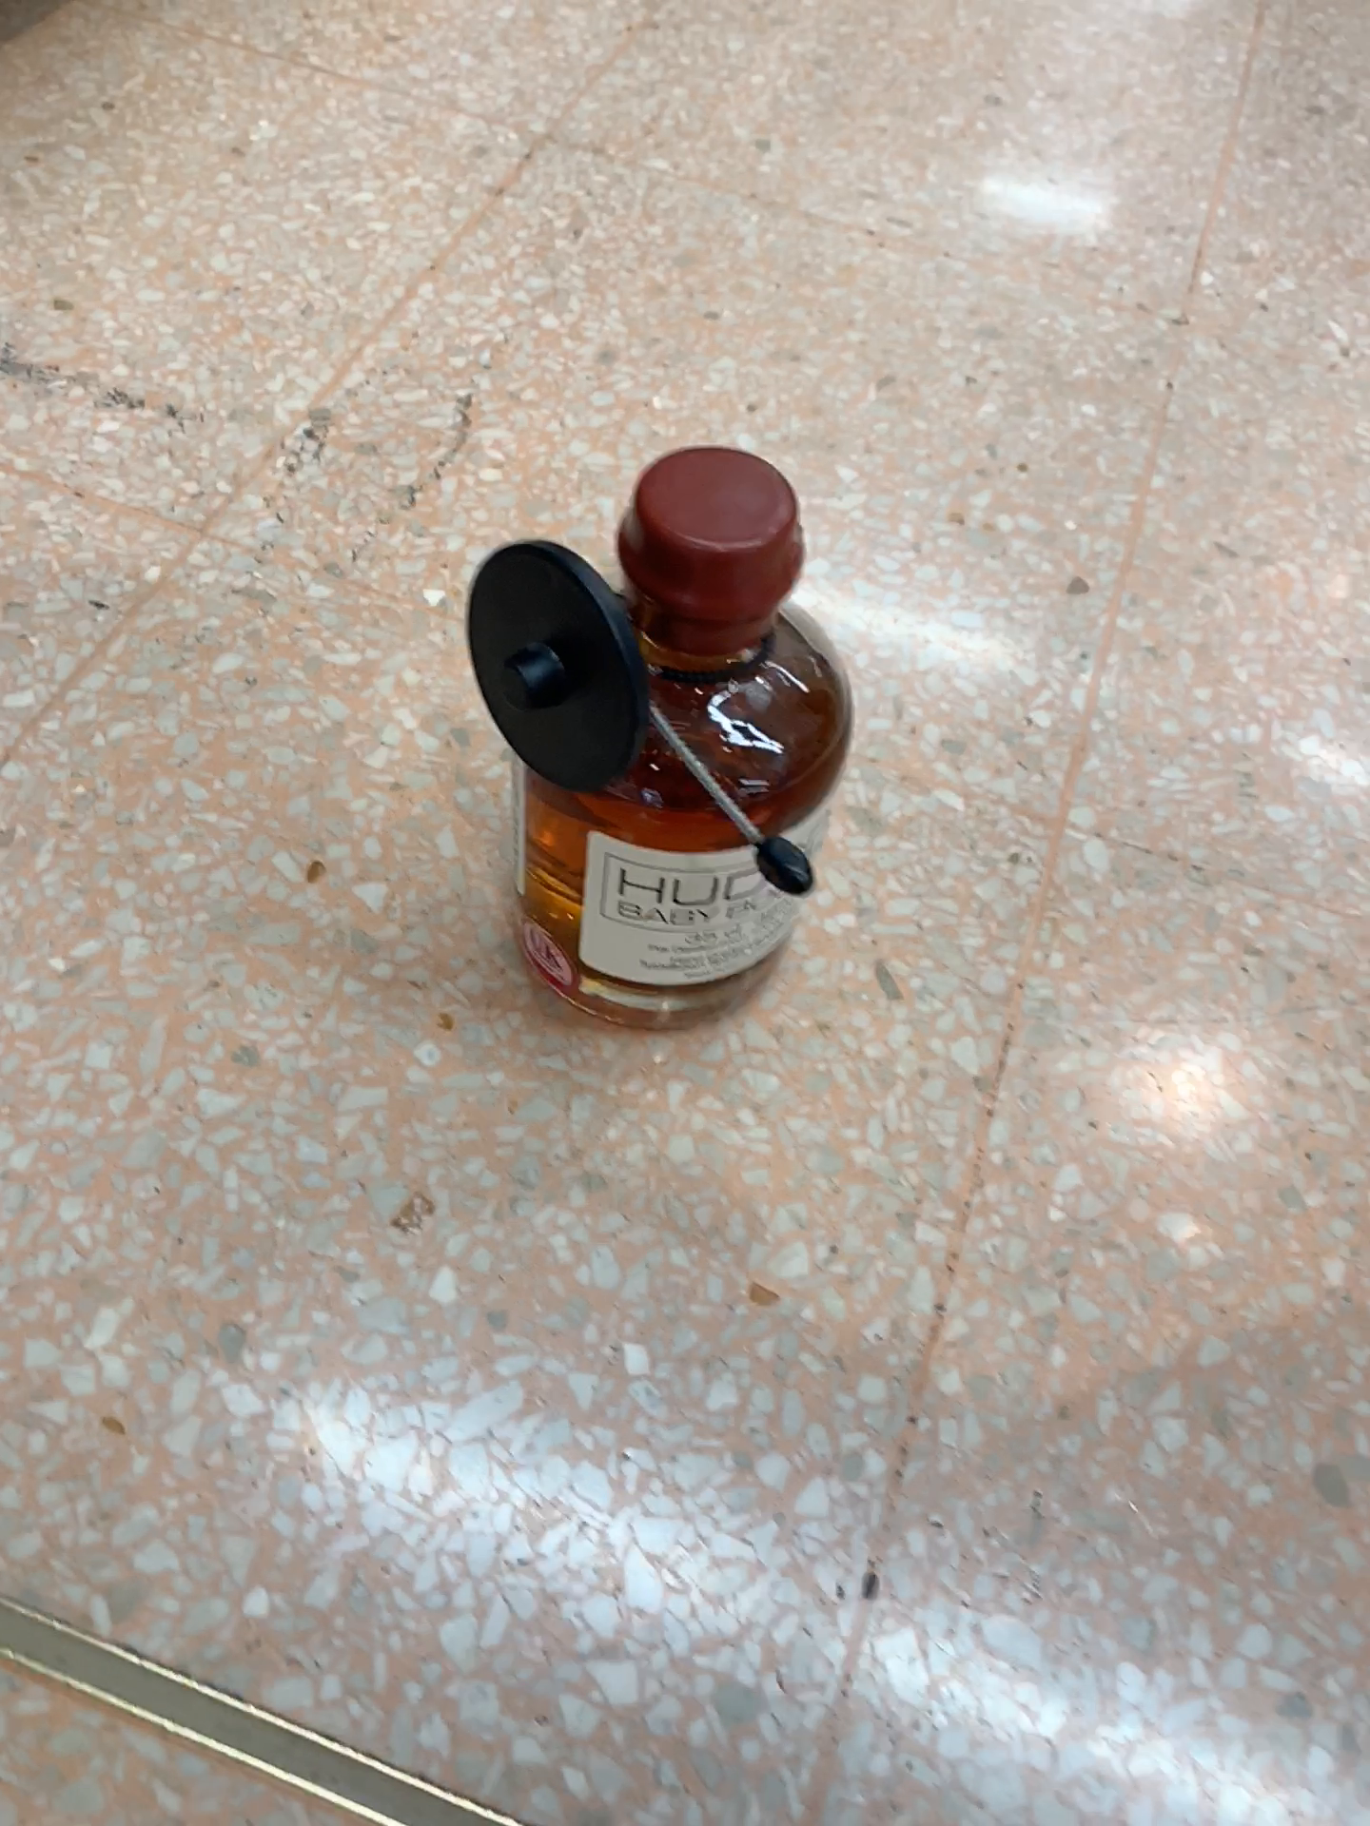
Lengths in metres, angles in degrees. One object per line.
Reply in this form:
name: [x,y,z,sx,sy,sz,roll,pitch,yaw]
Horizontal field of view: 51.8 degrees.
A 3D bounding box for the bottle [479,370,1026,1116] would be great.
bottle: [0.005,-0.032,0.324,0.076,0.142,0.073,4,55,-5]
